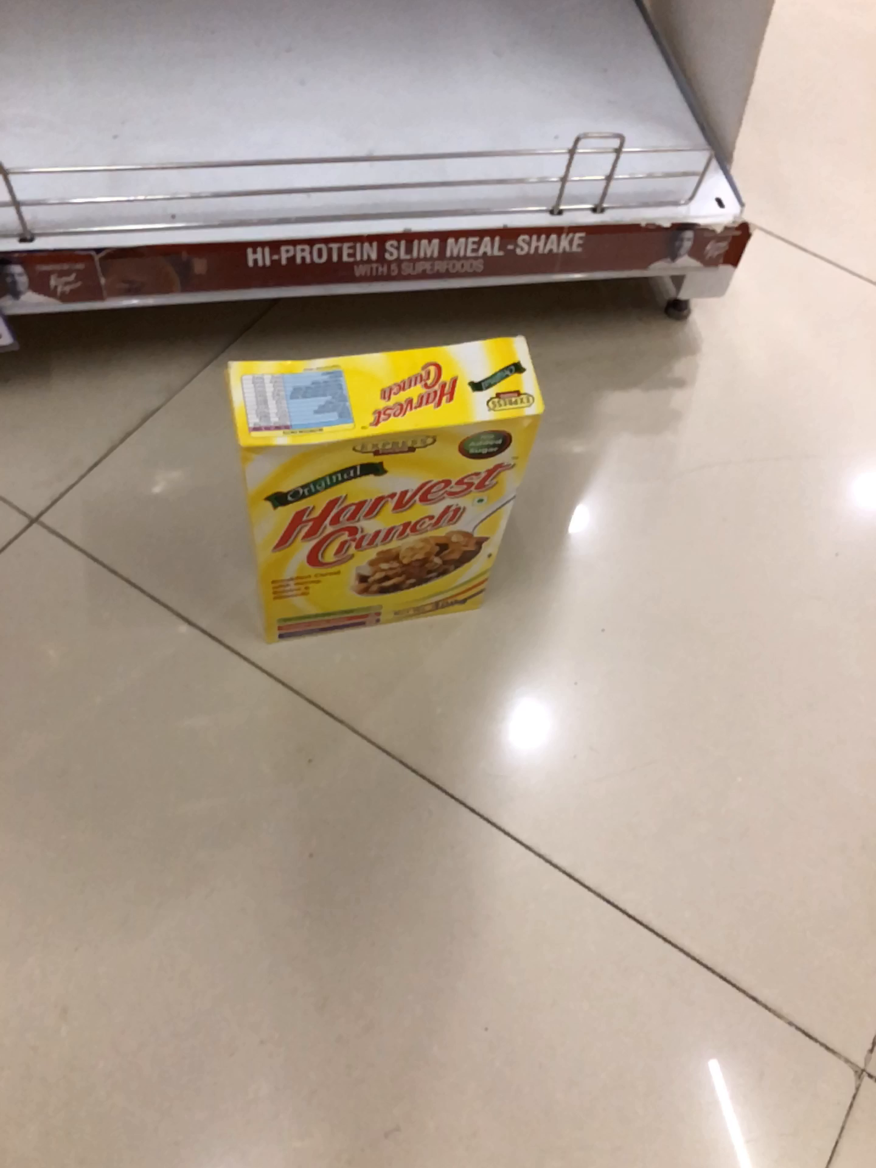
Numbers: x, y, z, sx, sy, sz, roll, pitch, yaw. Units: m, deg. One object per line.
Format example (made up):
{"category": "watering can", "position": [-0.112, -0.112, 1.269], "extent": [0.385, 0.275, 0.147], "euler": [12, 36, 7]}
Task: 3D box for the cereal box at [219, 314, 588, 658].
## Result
{"category": "cereal box", "position": [-0.024, -0.043, 0.529], "extent": [0.160, 0.209, 0.050], "euler": [-10, 61, -12]}
